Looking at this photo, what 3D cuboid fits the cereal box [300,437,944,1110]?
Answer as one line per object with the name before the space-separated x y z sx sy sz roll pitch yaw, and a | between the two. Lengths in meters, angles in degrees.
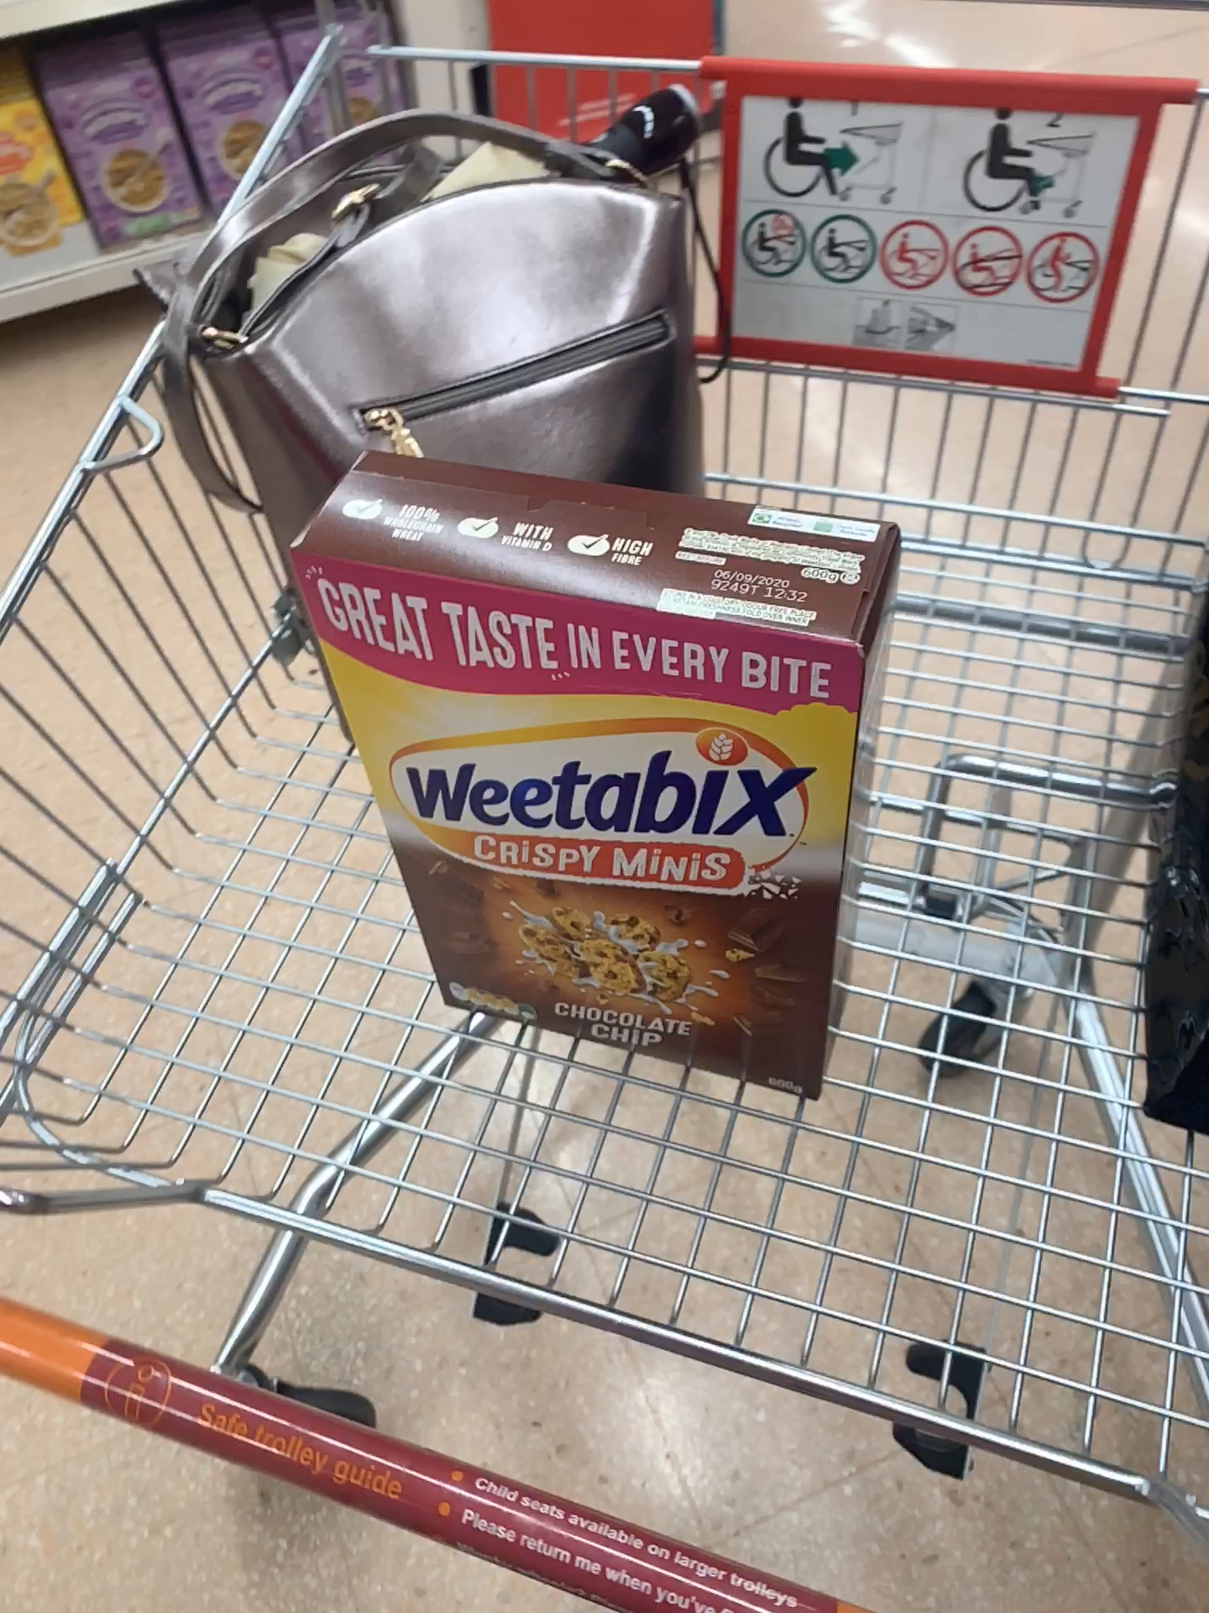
cereal box | 0.012 0.004 0.489 0.190 0.278 0.060 12 52 14
